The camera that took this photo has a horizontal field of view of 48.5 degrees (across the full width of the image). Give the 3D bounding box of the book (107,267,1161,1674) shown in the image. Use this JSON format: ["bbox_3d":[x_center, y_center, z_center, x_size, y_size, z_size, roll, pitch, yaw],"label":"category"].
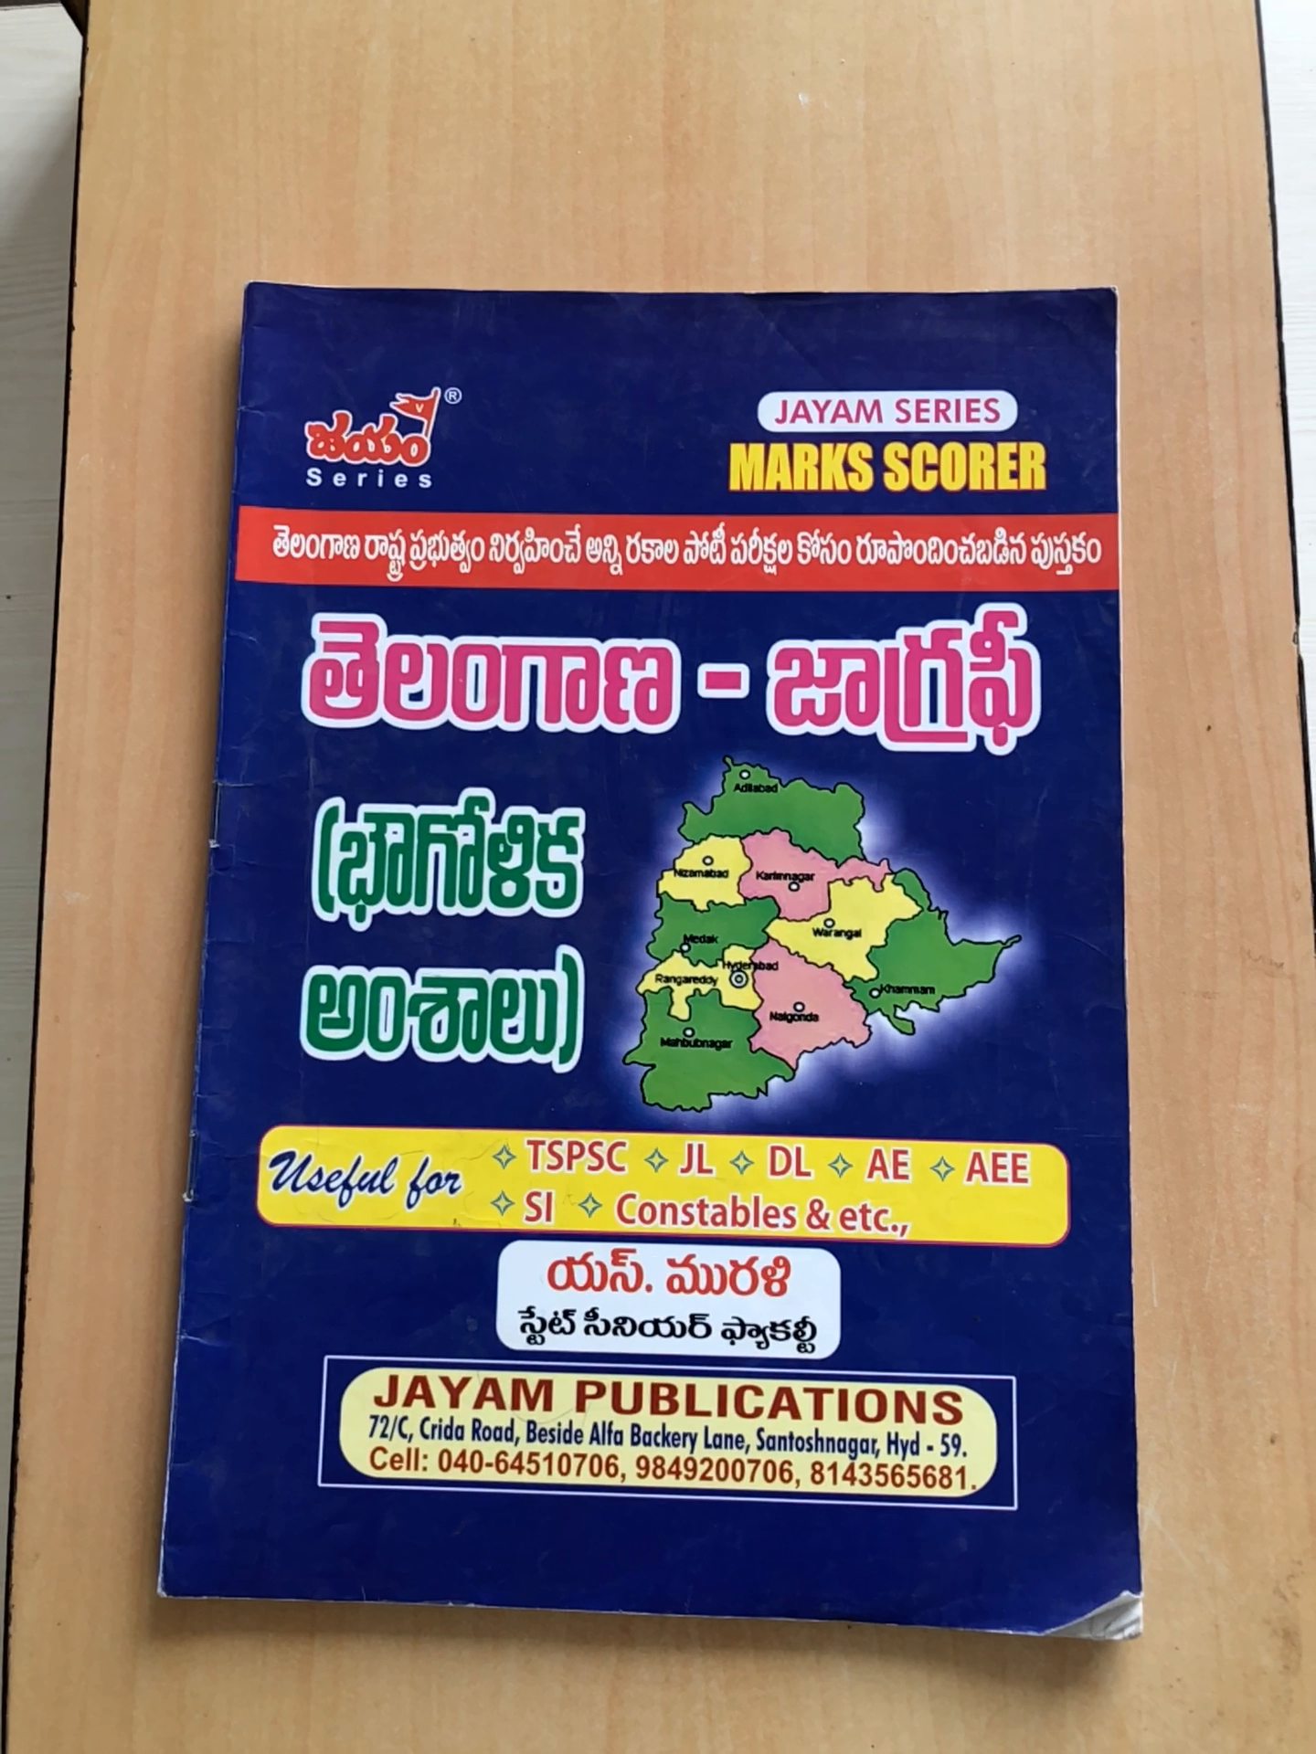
[{"bbox_3d":[-0.001,0.010,0.316,0.200,0.040,0.280,2,82,2],"label":"book"}]
